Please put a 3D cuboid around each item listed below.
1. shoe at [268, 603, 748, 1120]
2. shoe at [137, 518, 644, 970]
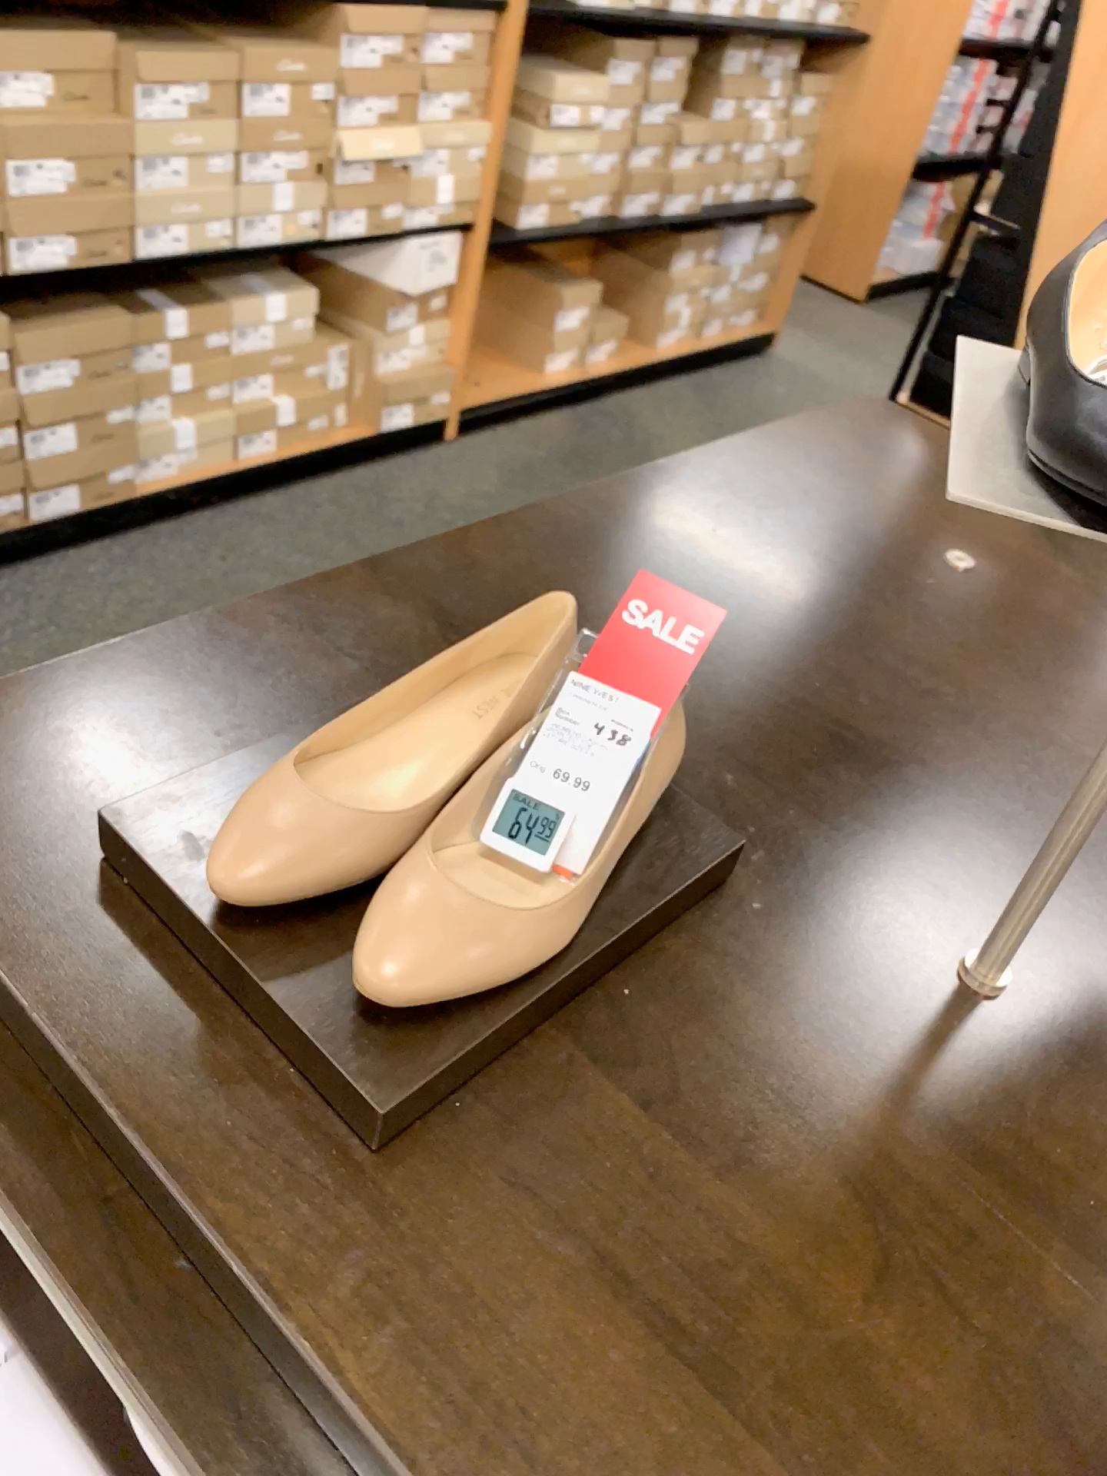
[{"bbox_3d":[-0.010,0.038,0.524,0.090,0.080,0.251,28,40,16],"label":"shoe"},{"bbox_3d":[-0.066,-0.013,0.545,0.090,0.080,0.251,30,41,19],"label":"shoe"}]
